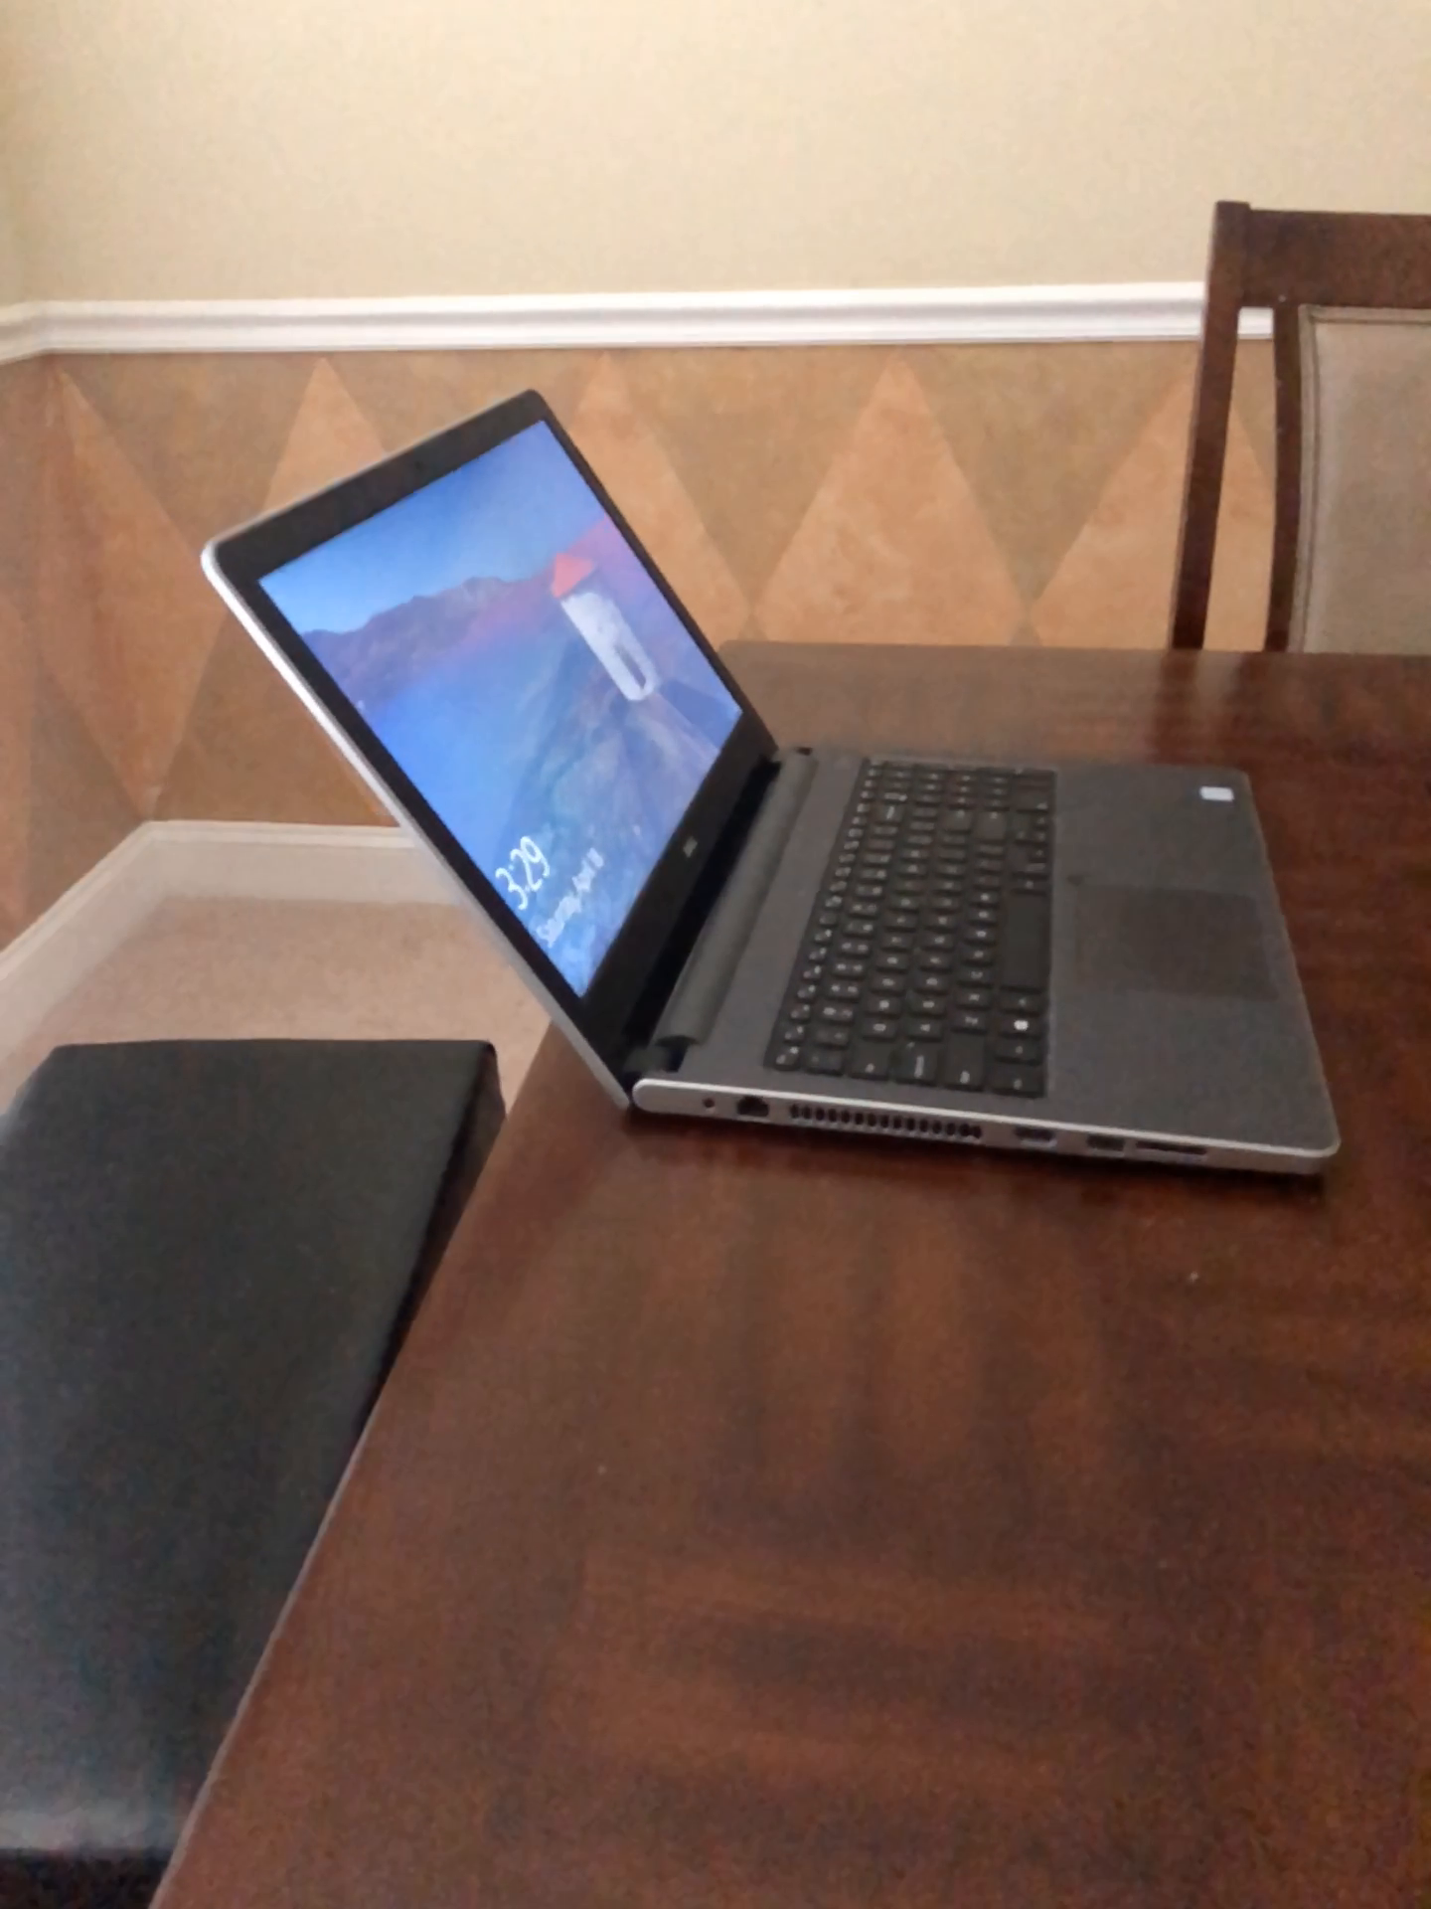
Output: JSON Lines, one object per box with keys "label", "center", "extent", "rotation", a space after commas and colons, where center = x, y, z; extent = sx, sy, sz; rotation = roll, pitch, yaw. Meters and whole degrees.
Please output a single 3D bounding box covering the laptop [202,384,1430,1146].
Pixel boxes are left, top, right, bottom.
{"label": "laptop", "center": [0.059, -0.120, 0.695], "extent": [0.391, 0.198, 0.369], "rotation": [4, 28, 10]}
